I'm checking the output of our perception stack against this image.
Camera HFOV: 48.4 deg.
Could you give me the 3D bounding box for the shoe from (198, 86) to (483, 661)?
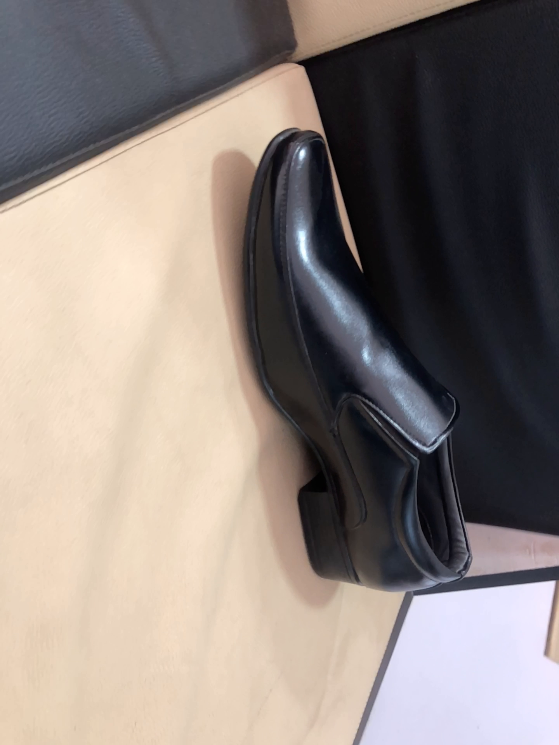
[{"bbox_3d":[0.054,0.009,0.380,0.101,0.079,0.321,-41,124,-50],"label":"shoe"}]
